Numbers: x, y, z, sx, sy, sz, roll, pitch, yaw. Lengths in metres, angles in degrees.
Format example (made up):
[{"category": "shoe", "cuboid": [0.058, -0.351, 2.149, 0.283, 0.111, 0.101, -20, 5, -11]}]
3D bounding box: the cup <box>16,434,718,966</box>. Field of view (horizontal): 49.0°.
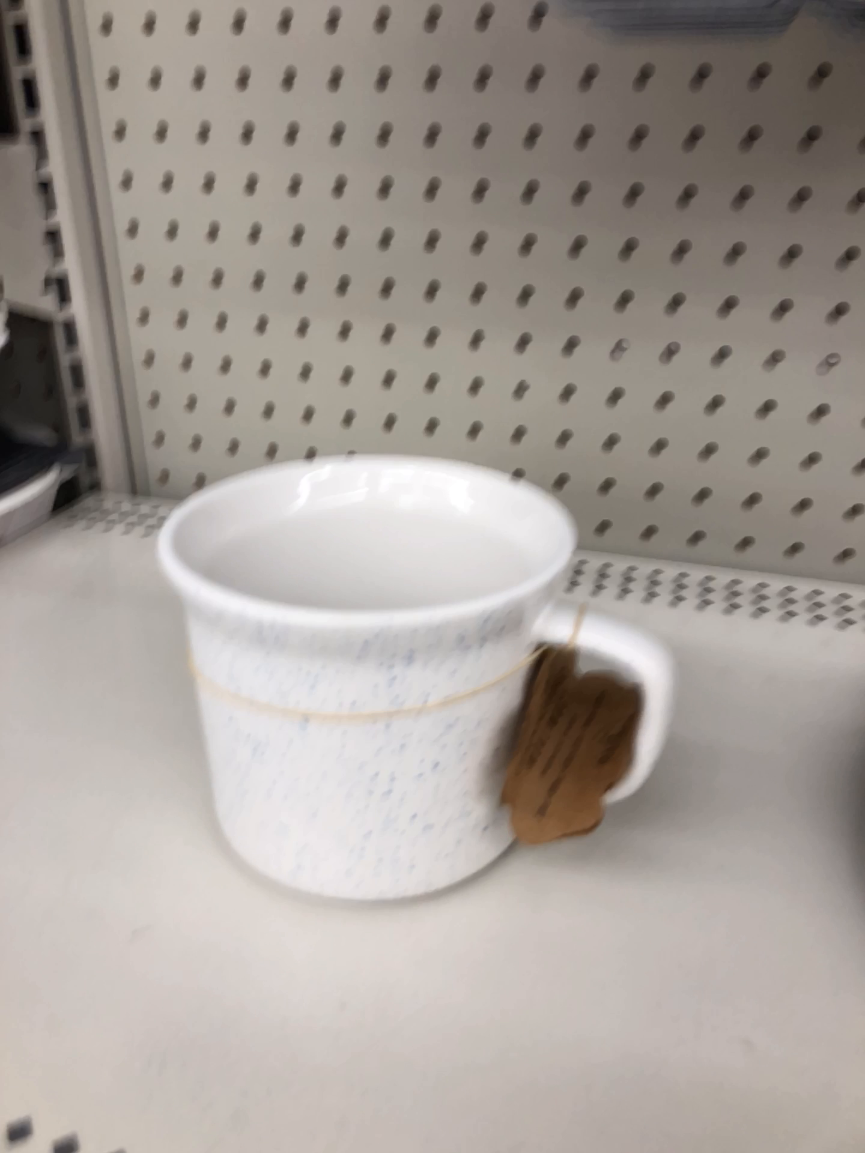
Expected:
[{"category": "cup", "cuboid": [-0.009, 0.024, 0.271, 0.159, 0.090, 0.102, 6, 26, 12]}]
